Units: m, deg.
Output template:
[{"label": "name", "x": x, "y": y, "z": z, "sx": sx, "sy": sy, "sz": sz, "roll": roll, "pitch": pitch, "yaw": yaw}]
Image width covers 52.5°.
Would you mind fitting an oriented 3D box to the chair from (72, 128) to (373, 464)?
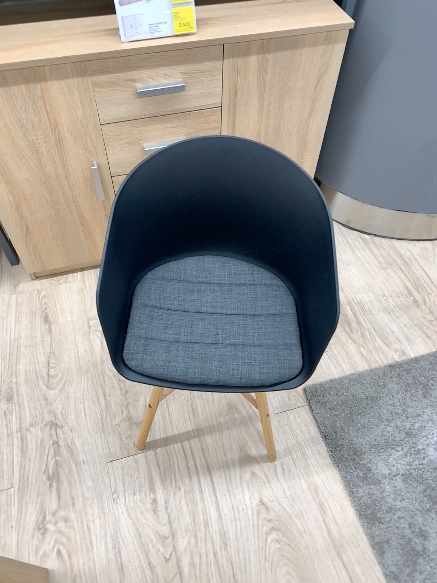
[{"label": "chair", "x": 0.010, "y": 0.067, "z": 1.231, "sx": 0.510, "sy": 0.787, "sz": 0.552, "roll": 2, "pitch": 53, "yaw": 1}]
